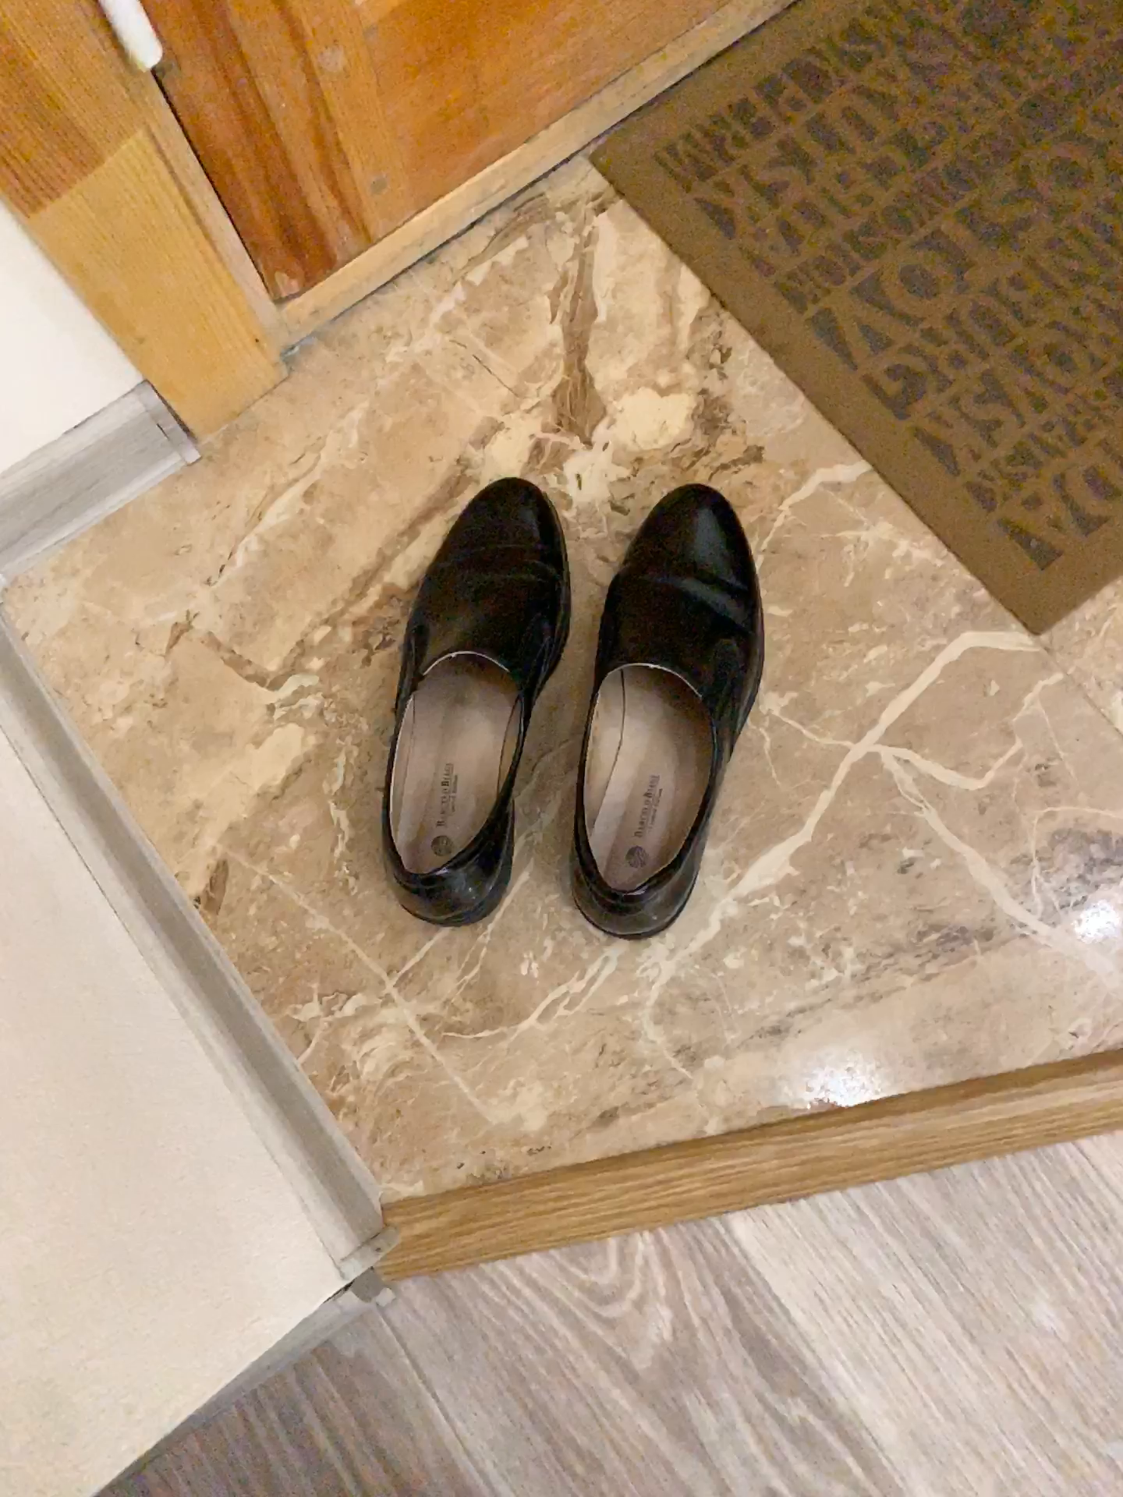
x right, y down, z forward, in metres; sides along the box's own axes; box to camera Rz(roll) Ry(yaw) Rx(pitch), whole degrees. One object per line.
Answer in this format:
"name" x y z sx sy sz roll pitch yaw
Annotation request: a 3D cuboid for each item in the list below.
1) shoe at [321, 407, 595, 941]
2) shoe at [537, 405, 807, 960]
"shoe" -0.047 -0.037 0.619 0.090 0.100 0.260 7 77 6
"shoe" 0.059 -0.031 0.598 0.090 0.100 0.260 9 77 7
